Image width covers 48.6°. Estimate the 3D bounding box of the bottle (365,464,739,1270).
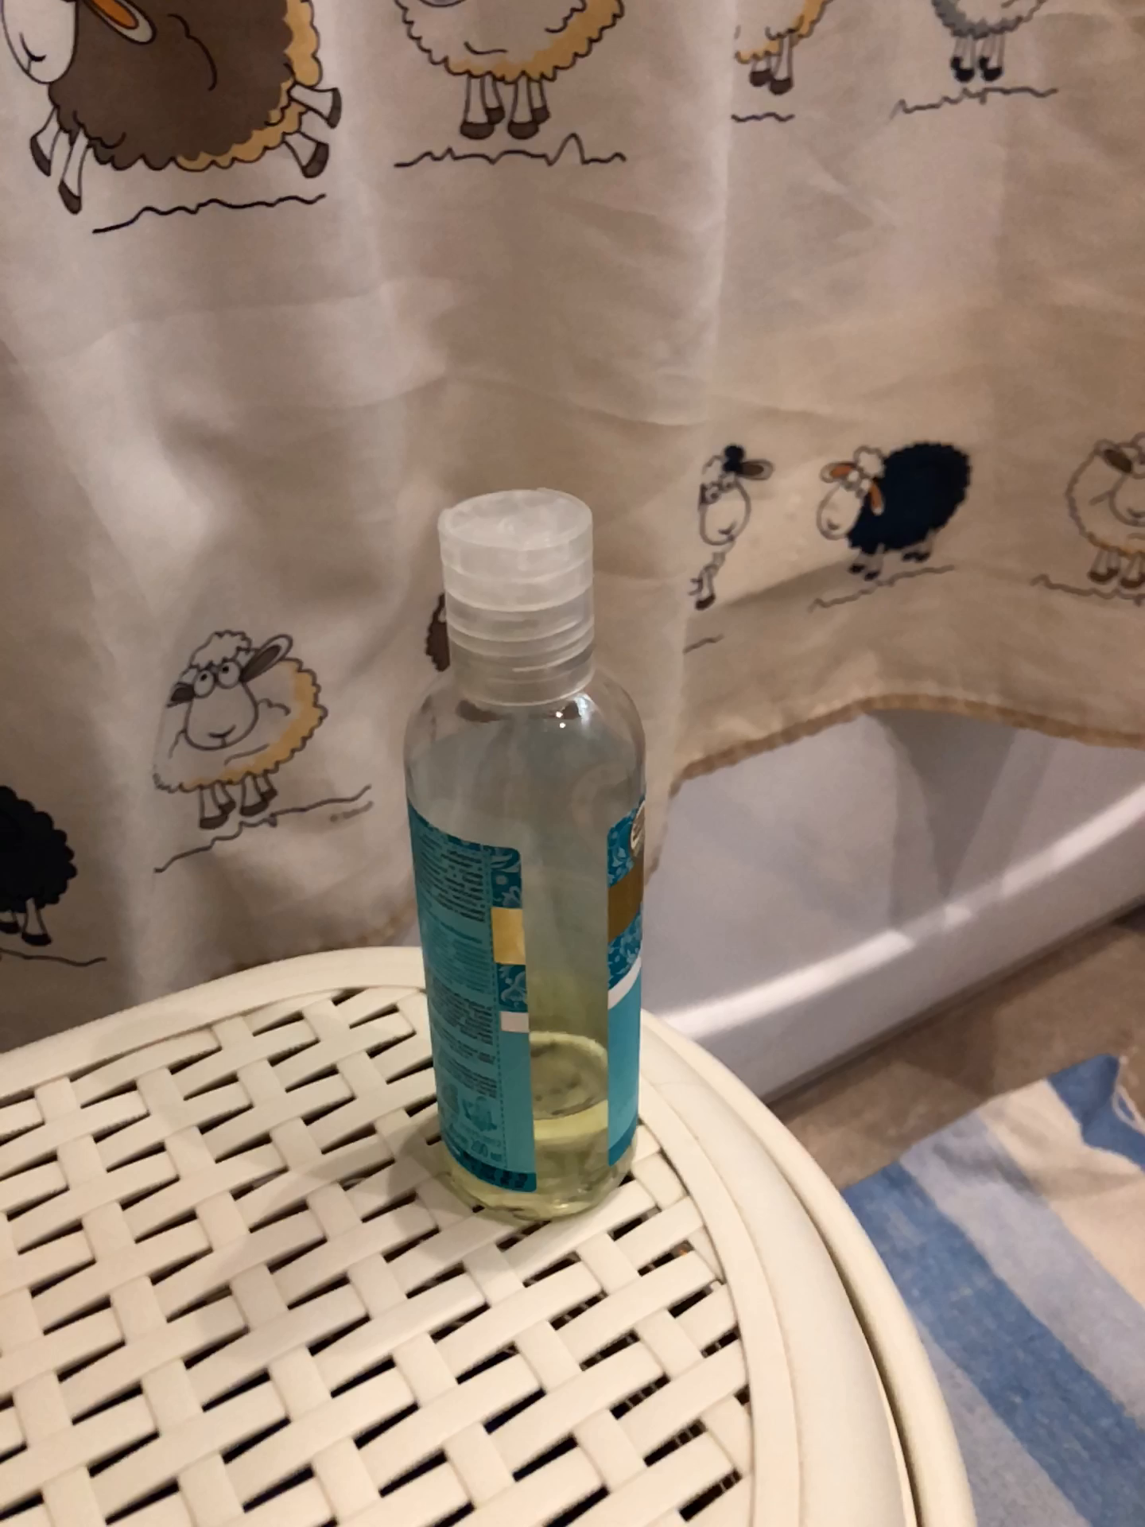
[{"bbox_3d":[-0.005,0.025,0.252,0.045,0.153,0.046,0,33,0],"label":"bottle"}]
